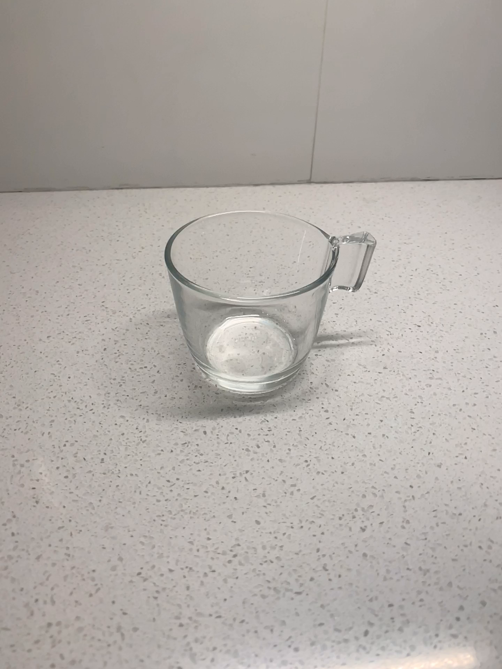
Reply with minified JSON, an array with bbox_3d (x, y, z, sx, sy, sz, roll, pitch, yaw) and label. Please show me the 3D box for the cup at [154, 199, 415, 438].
[{"bbox_3d":[0.010,-0.013,0.281,0.110,0.080,0.090,-7,41,-9],"label":"cup"}]
